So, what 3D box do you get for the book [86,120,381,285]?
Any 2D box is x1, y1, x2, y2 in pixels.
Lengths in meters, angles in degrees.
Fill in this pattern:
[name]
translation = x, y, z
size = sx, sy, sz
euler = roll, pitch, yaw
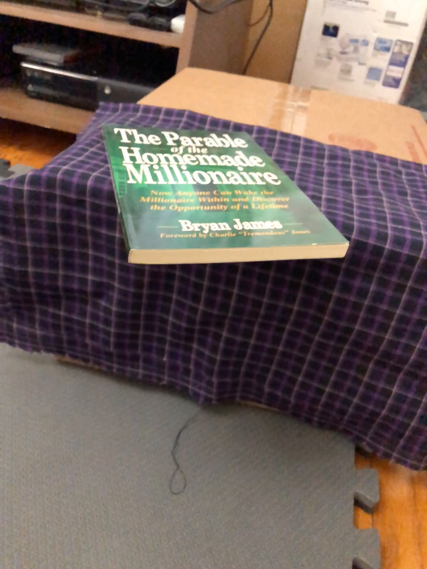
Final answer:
[book]
translation = -0.005, -0.074, 0.349
size = 0.160, 0.020, 0.211
euler = -3, 37, -16
